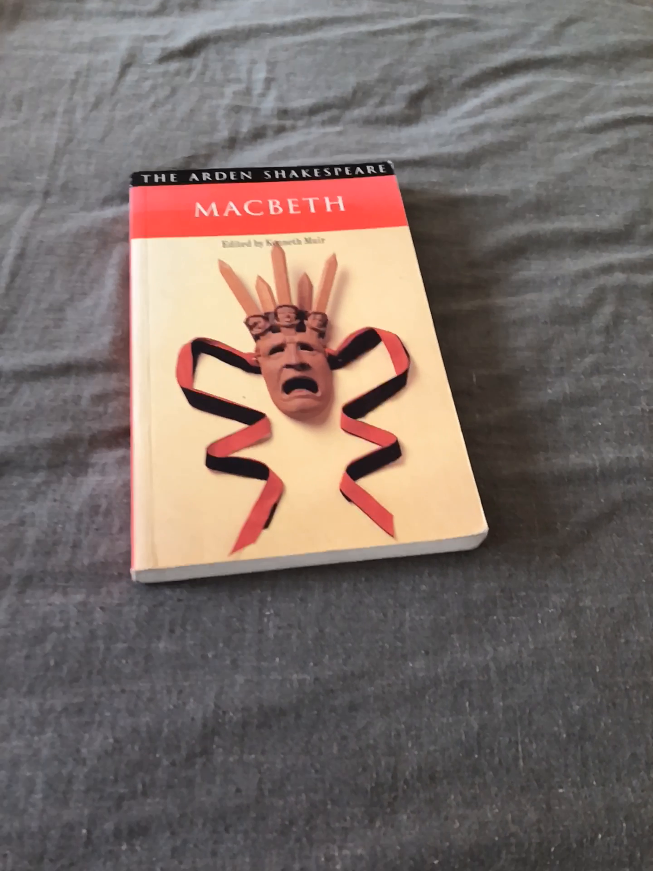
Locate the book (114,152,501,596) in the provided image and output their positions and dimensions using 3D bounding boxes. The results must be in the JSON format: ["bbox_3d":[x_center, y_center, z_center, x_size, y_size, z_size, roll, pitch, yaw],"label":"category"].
[{"bbox_3d":[-0.018,-0.041,0.301,0.130,0.020,0.200,-5,59,-6],"label":"book"}]
